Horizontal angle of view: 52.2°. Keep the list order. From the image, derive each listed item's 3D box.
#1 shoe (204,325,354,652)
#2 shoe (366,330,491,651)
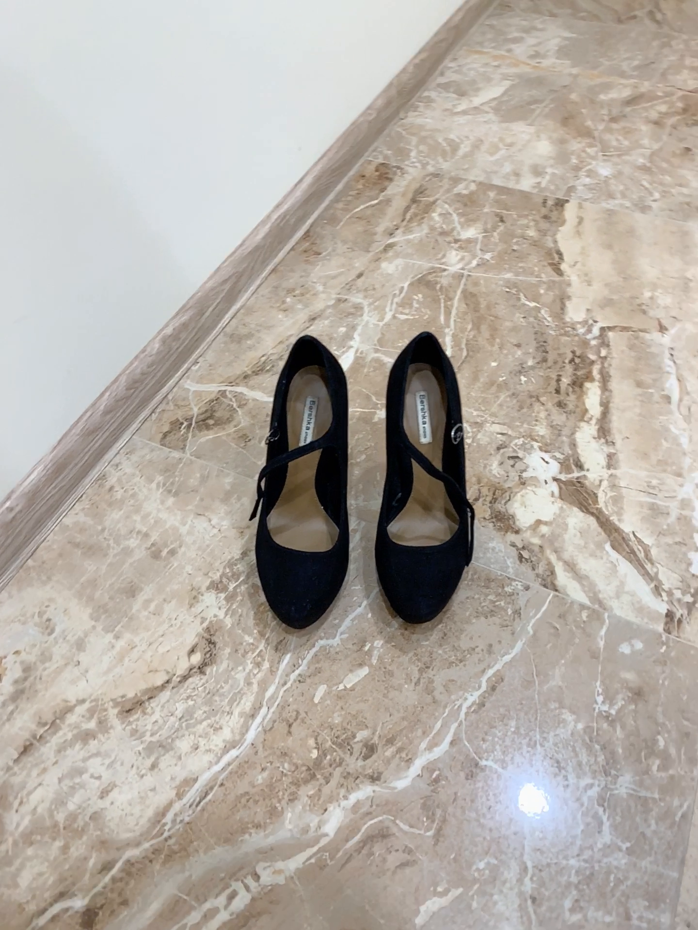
[{"bbox_3d":[-0.044,0.020,0.591,0.089,0.169,0.211,-1,52,2],"label":"shoe"},{"bbox_3d":[0.056,0.020,0.588,0.080,0.159,0.211,-1,52,2],"label":"shoe"}]
